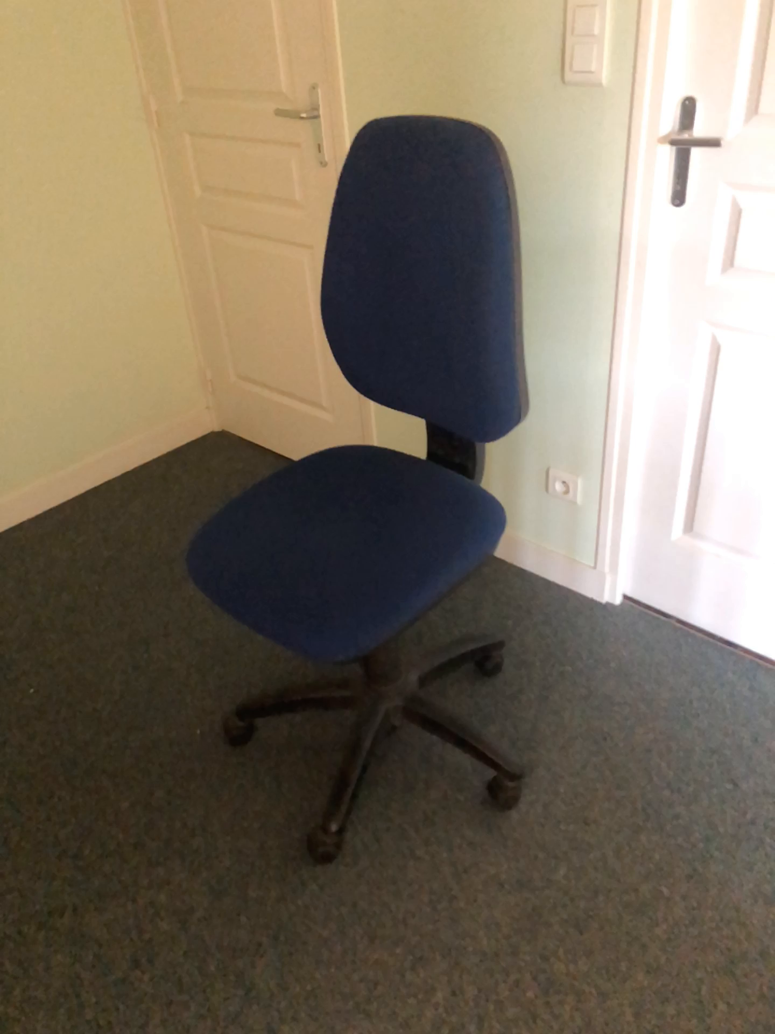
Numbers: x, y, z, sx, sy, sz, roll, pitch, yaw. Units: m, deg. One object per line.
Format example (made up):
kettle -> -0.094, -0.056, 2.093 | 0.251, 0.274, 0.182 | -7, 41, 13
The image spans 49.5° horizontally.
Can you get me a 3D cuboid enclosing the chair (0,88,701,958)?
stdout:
chair -> -0.032, -0.049, 1.414 | 0.700, 1.113, 0.674 | 24, 42, 37
